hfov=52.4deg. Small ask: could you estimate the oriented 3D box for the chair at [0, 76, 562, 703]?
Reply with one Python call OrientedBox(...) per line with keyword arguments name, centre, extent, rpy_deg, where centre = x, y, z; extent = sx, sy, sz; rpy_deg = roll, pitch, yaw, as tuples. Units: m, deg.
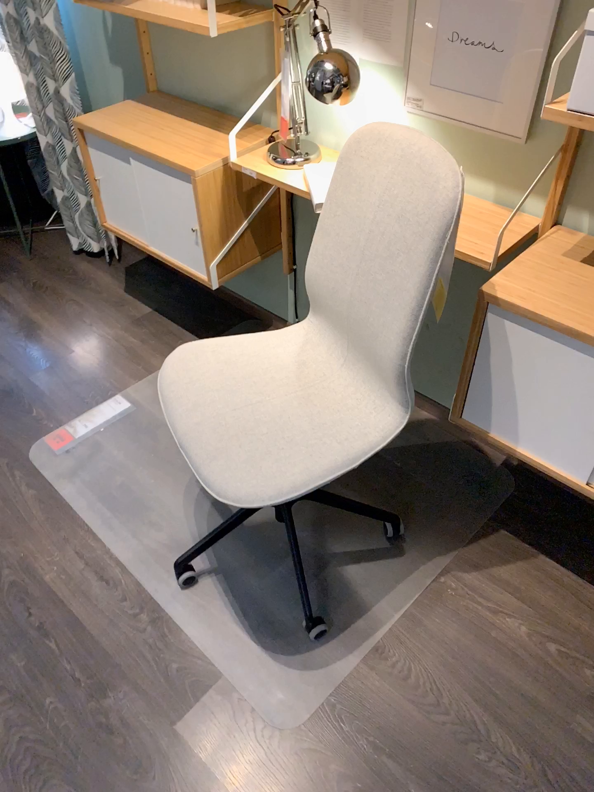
OrientedBox(name="chair", centre=(-0.063, -0.008, 1.321), extent=(0.670, 1.016, 0.672), rpy_deg=(-22, 47, -21))
